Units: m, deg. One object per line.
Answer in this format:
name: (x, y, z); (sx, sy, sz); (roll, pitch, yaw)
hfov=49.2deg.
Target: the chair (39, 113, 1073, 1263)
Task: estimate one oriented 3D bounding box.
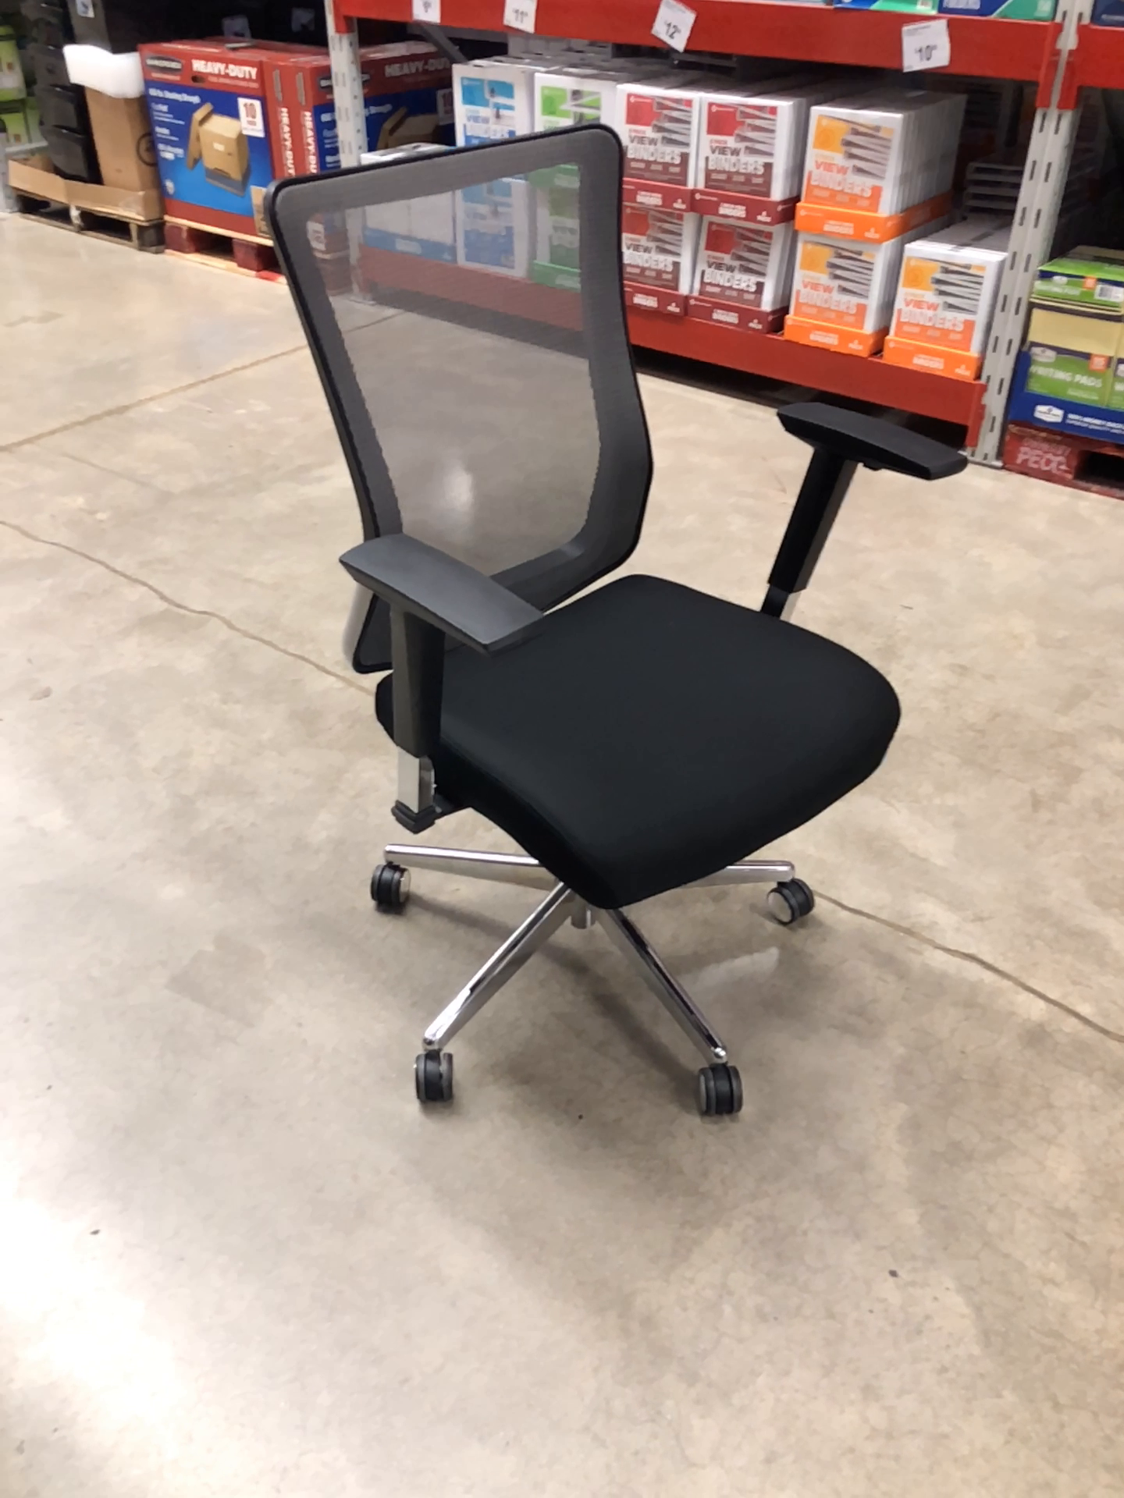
chair: (0.006, -0.127, 1.461); (0.711, 0.987, 0.691); (27, 44, 33)
